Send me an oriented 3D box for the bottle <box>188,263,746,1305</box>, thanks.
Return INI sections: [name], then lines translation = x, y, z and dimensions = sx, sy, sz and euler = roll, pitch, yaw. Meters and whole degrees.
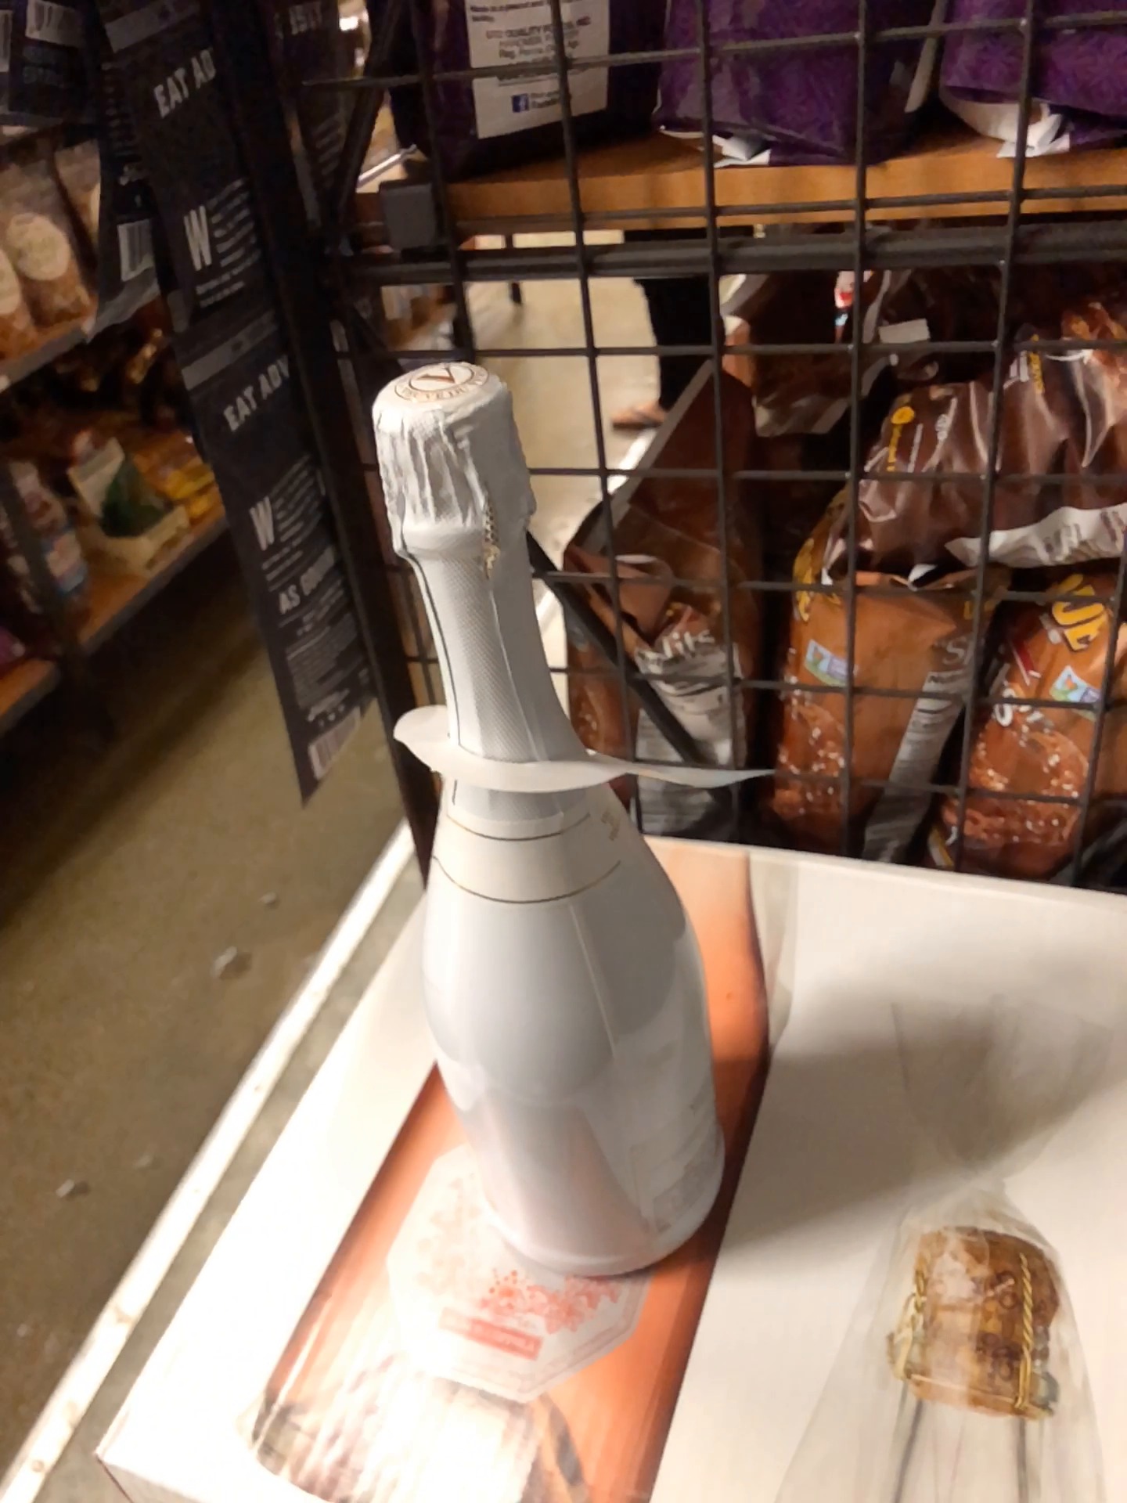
[bottle]
translation = -0.004, 0.030, 0.370
dimensions = 0.094, 0.310, 0.086
euler = -5, 36, 4
